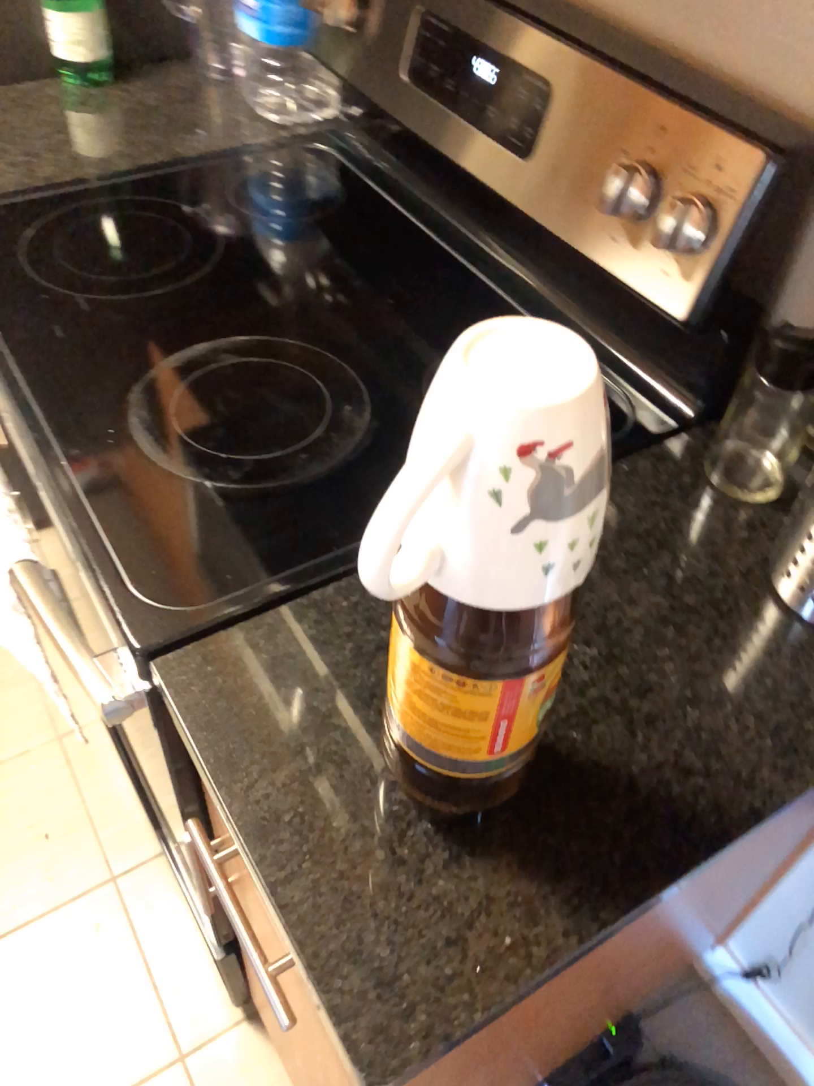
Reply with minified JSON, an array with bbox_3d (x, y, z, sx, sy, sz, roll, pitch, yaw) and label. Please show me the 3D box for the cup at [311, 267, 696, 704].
[{"bbox_3d":[0.041,-0.031,0.409,0.100,0.110,0.140,30,51,20],"label":"cup"}]
